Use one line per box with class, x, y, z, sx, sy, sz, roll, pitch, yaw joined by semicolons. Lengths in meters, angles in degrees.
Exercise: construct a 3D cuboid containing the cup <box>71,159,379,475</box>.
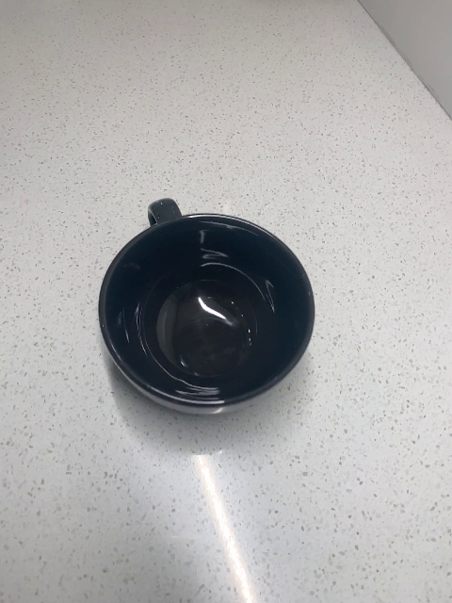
cup;-0.008;0.004;0.248;0.110;0.060;0.130;-16;64;-11
